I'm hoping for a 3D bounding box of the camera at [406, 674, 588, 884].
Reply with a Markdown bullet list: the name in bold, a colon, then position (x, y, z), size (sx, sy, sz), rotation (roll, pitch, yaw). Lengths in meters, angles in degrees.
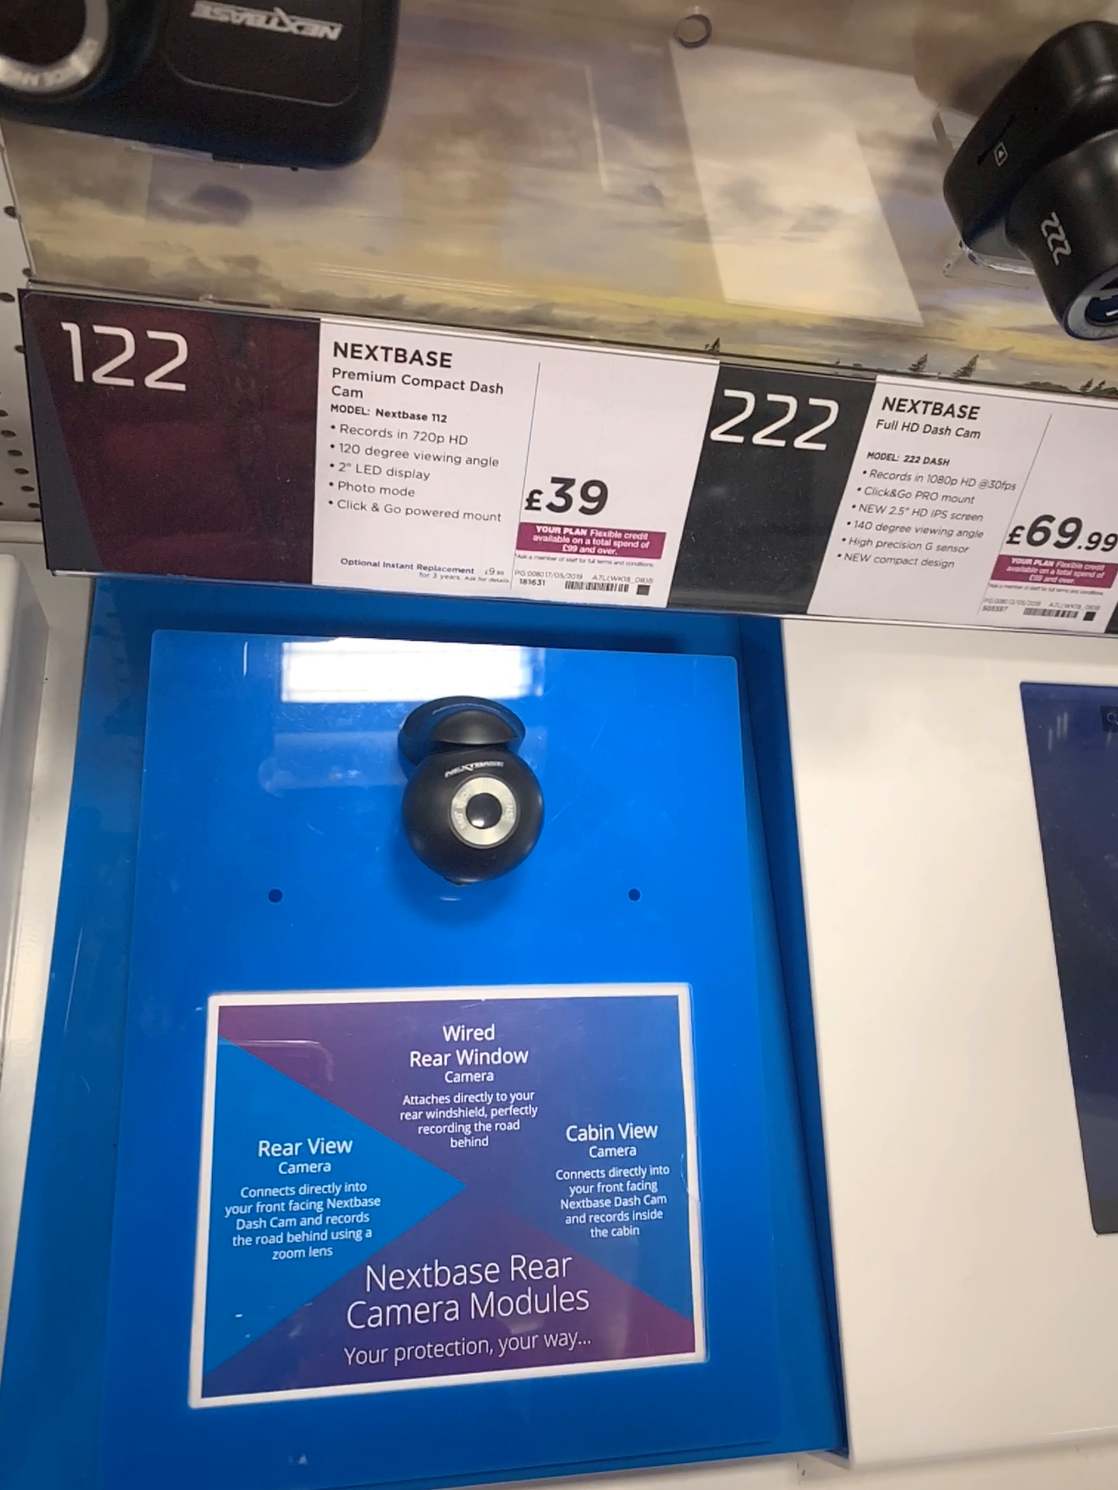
- **camera**: position (-0.018, 0.011, 0.302), size (0.040, 0.050, 0.050), rotation (1, 83, -12)
